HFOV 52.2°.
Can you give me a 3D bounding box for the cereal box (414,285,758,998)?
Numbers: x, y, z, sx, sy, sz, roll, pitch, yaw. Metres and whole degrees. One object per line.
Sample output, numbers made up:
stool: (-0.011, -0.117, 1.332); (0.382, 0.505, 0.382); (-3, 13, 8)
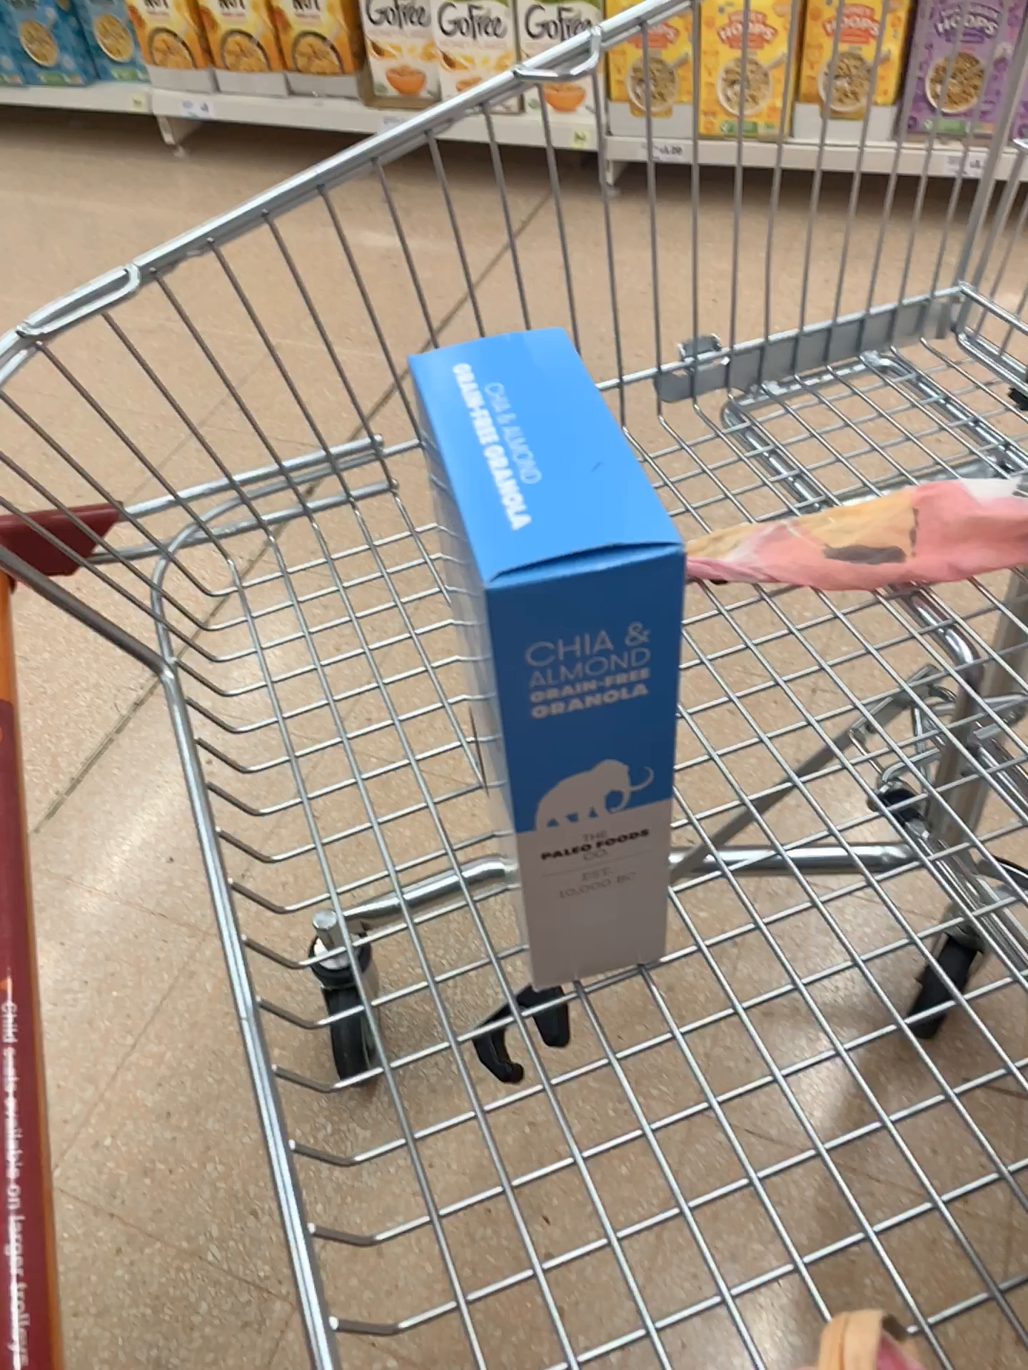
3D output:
cereal box: (0.020, -0.007, 0.375); (0.060, 0.208, 0.141); (-13, 48, -6)
